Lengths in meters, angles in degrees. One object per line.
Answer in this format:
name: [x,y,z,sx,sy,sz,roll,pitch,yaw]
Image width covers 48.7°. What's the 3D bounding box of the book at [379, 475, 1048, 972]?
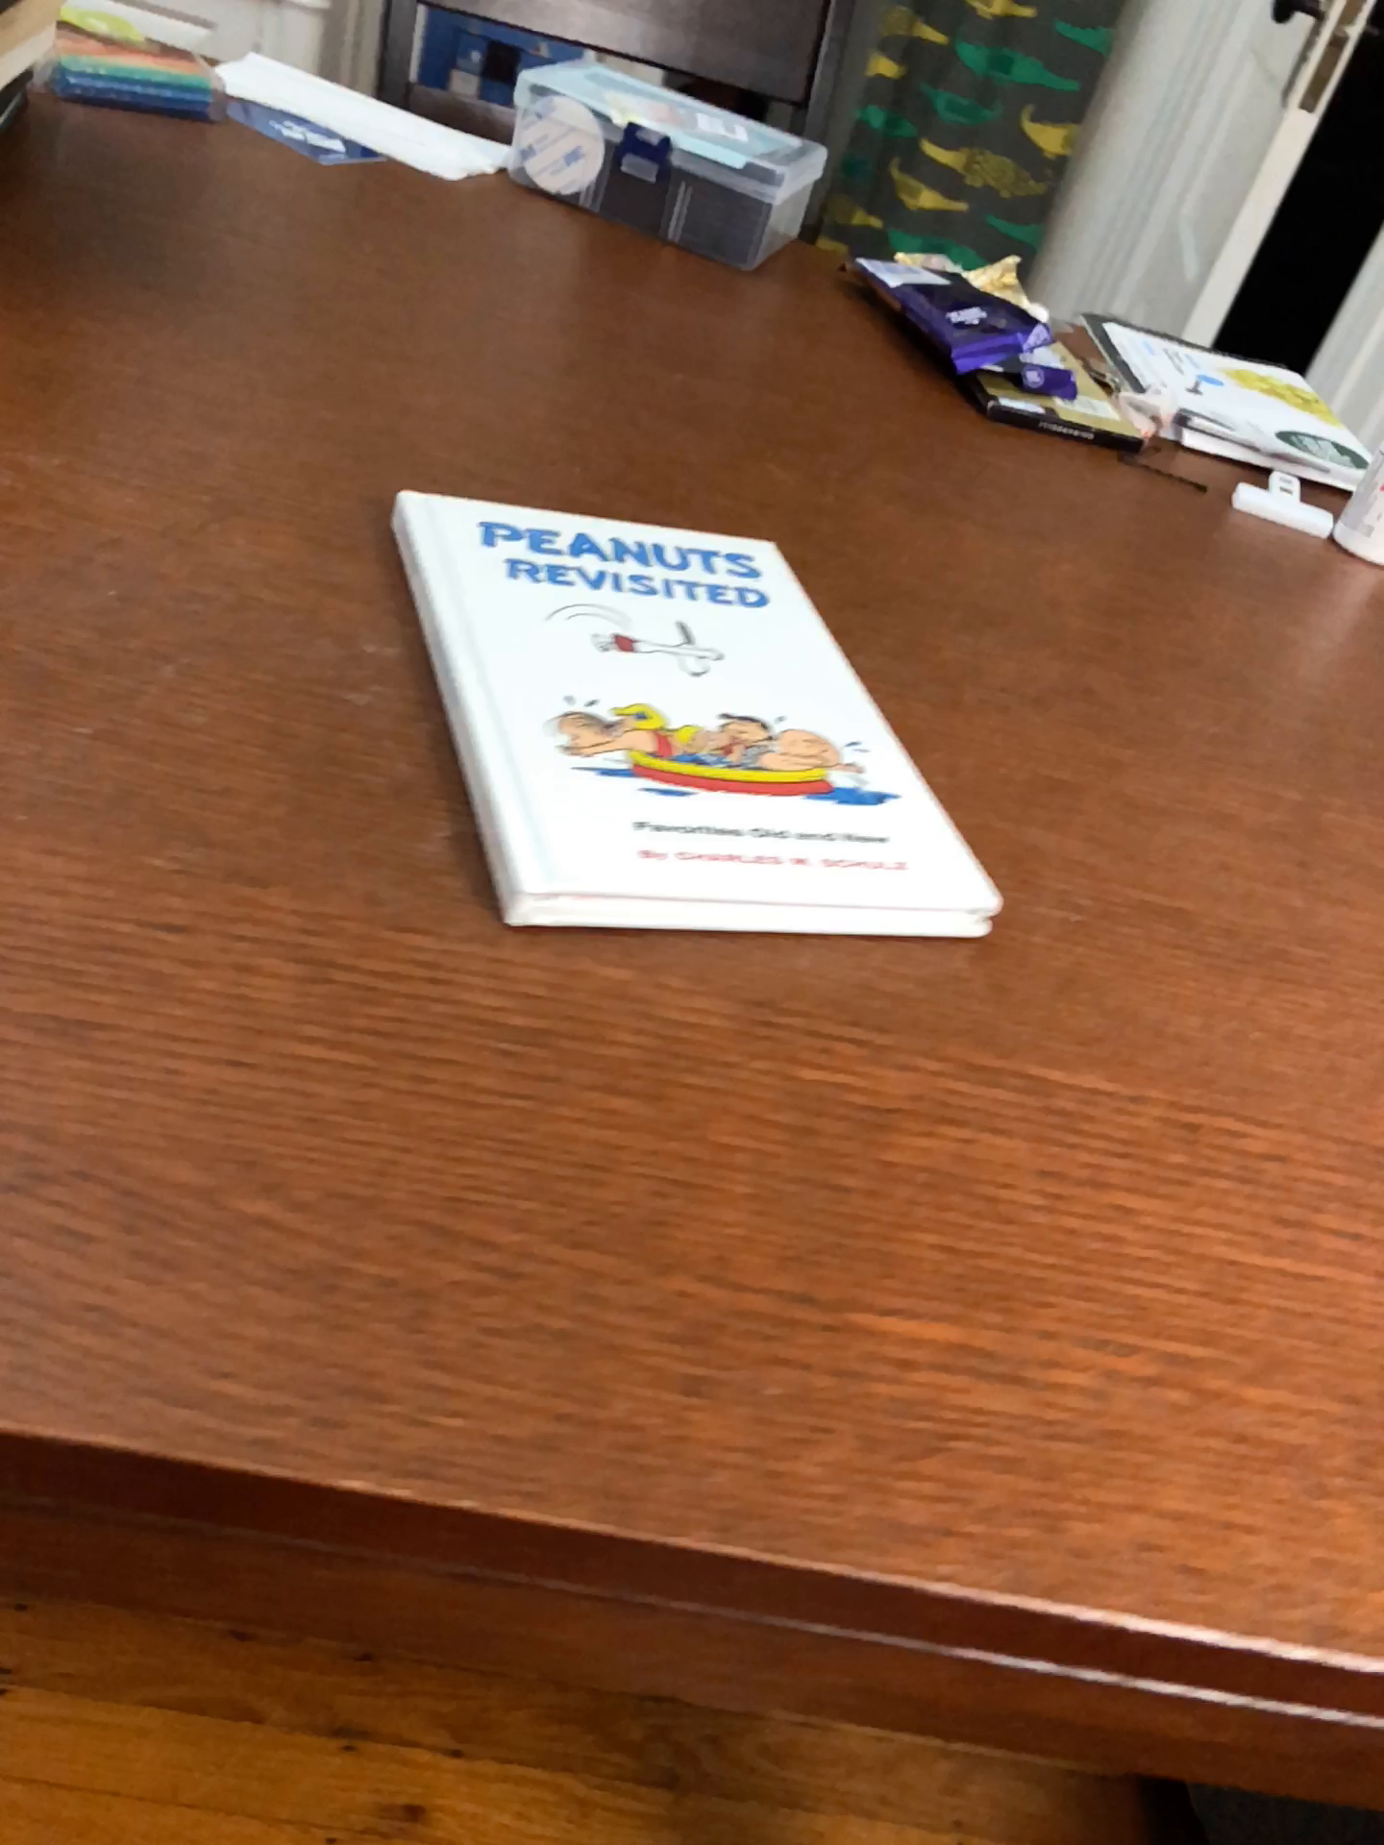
book: [-0.005,-0.068,0.468,0.150,0.020,0.221,2,40,-22]
